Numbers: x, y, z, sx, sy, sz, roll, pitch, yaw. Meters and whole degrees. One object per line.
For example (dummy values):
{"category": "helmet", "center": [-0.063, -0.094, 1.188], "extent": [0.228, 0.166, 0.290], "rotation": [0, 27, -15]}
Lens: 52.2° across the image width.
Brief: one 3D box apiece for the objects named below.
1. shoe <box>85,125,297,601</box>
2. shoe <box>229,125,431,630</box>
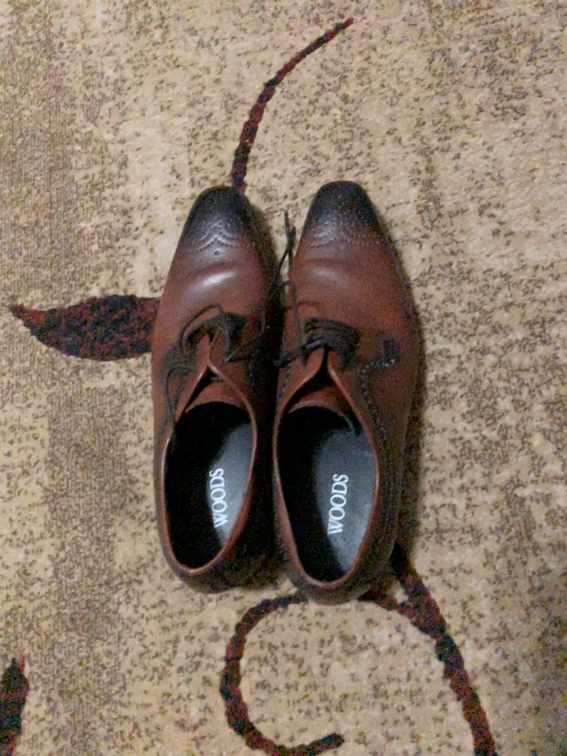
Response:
{"category": "shoe", "center": [-0.050, -0.006, 0.382], "extent": [0.096, 0.116, 0.274], "rotation": [-4, 75, 8]}
{"category": "shoe", "center": [0.038, -0.002, 0.366], "extent": [0.096, 0.116, 0.274], "rotation": [2, 75, 9]}
